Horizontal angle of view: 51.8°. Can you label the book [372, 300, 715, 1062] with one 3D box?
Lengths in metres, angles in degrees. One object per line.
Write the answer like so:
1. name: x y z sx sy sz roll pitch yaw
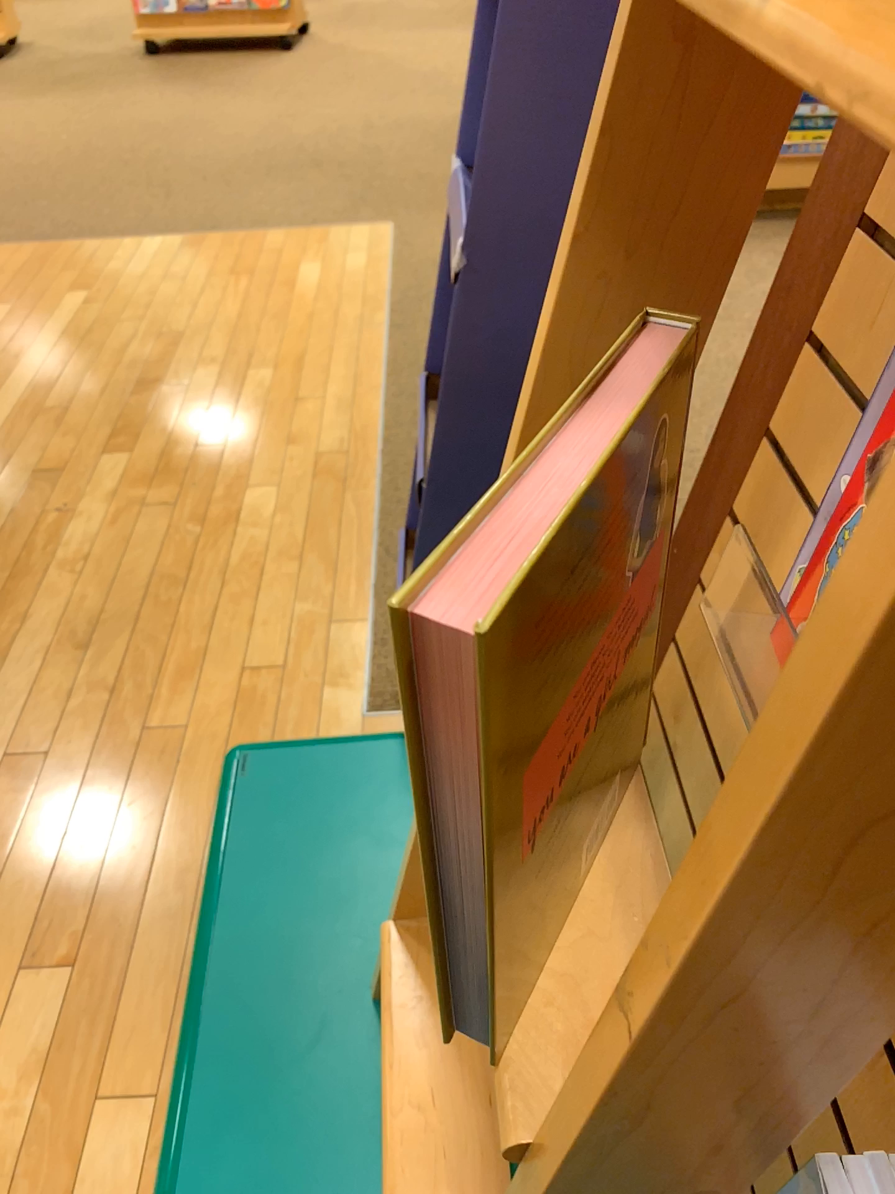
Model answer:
1. book: 0.042 0.034 0.339 0.030 0.219 0.181 17 45 22
